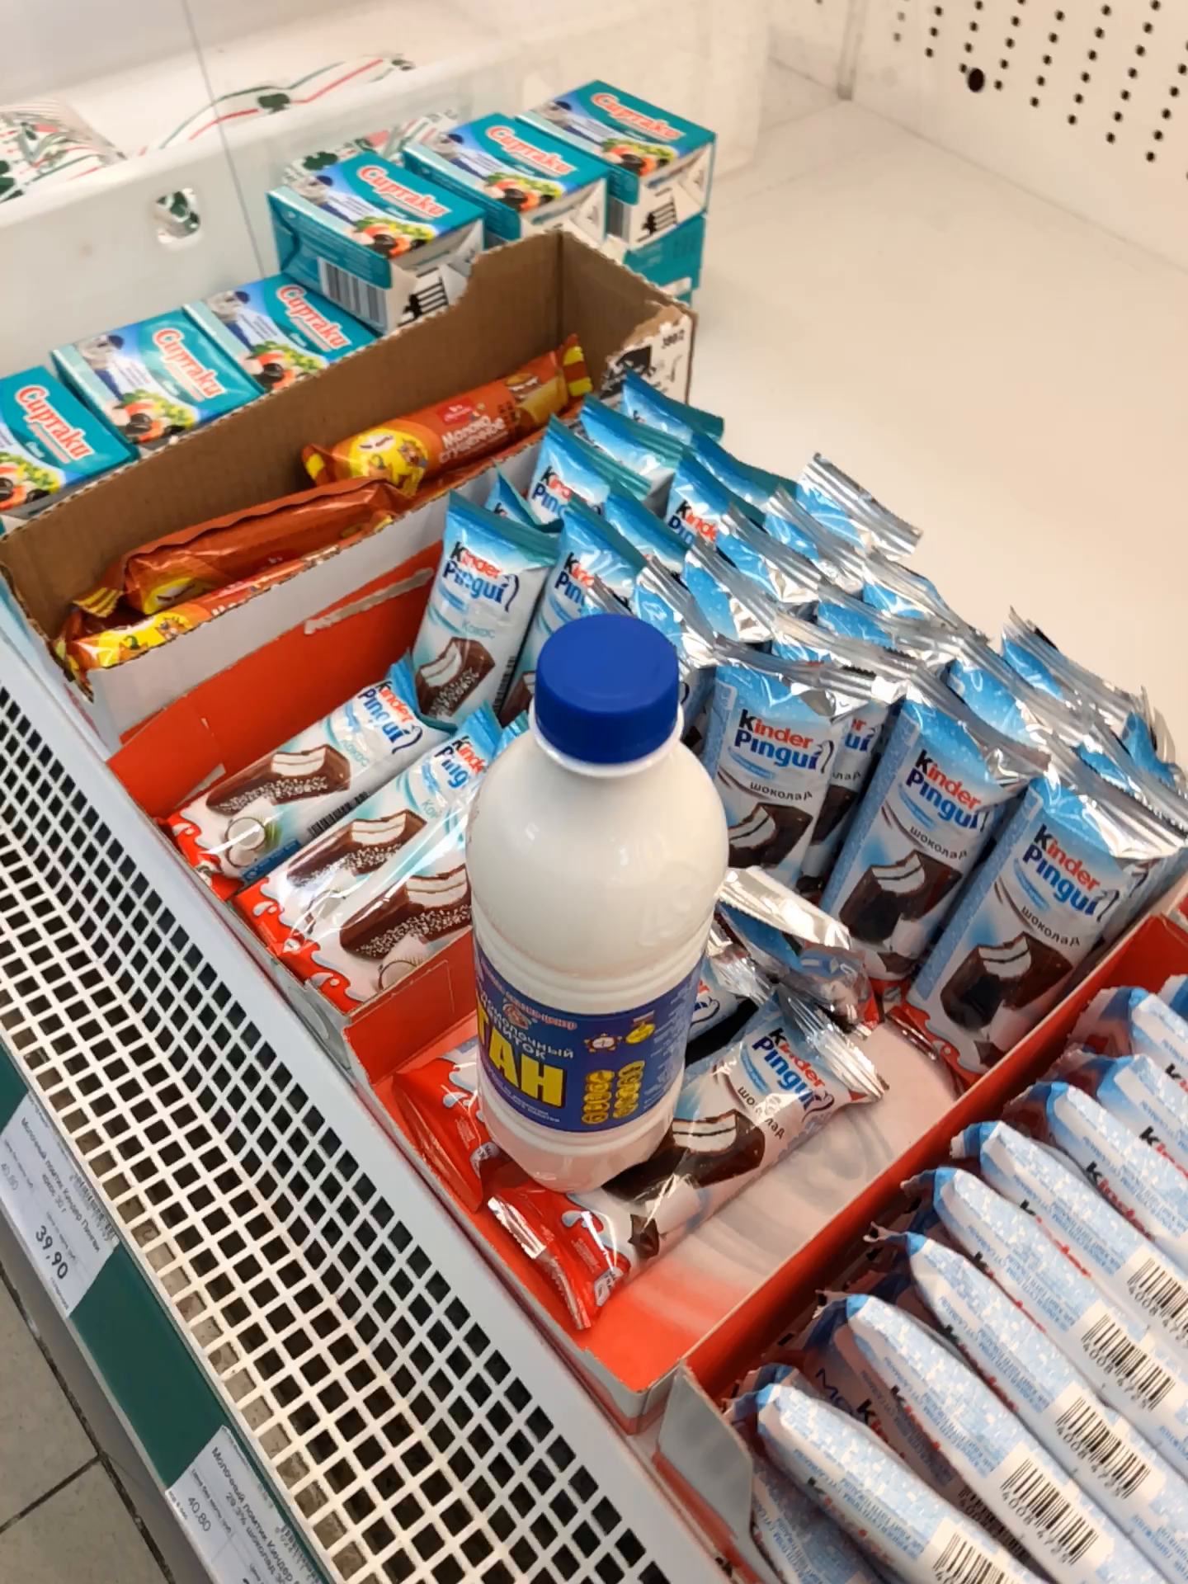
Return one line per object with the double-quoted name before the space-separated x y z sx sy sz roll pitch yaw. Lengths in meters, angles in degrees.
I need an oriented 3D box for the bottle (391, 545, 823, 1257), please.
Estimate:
"bottle" 0.000 0.043 0.342 0.064 0.203 0.059 1 51 -1
